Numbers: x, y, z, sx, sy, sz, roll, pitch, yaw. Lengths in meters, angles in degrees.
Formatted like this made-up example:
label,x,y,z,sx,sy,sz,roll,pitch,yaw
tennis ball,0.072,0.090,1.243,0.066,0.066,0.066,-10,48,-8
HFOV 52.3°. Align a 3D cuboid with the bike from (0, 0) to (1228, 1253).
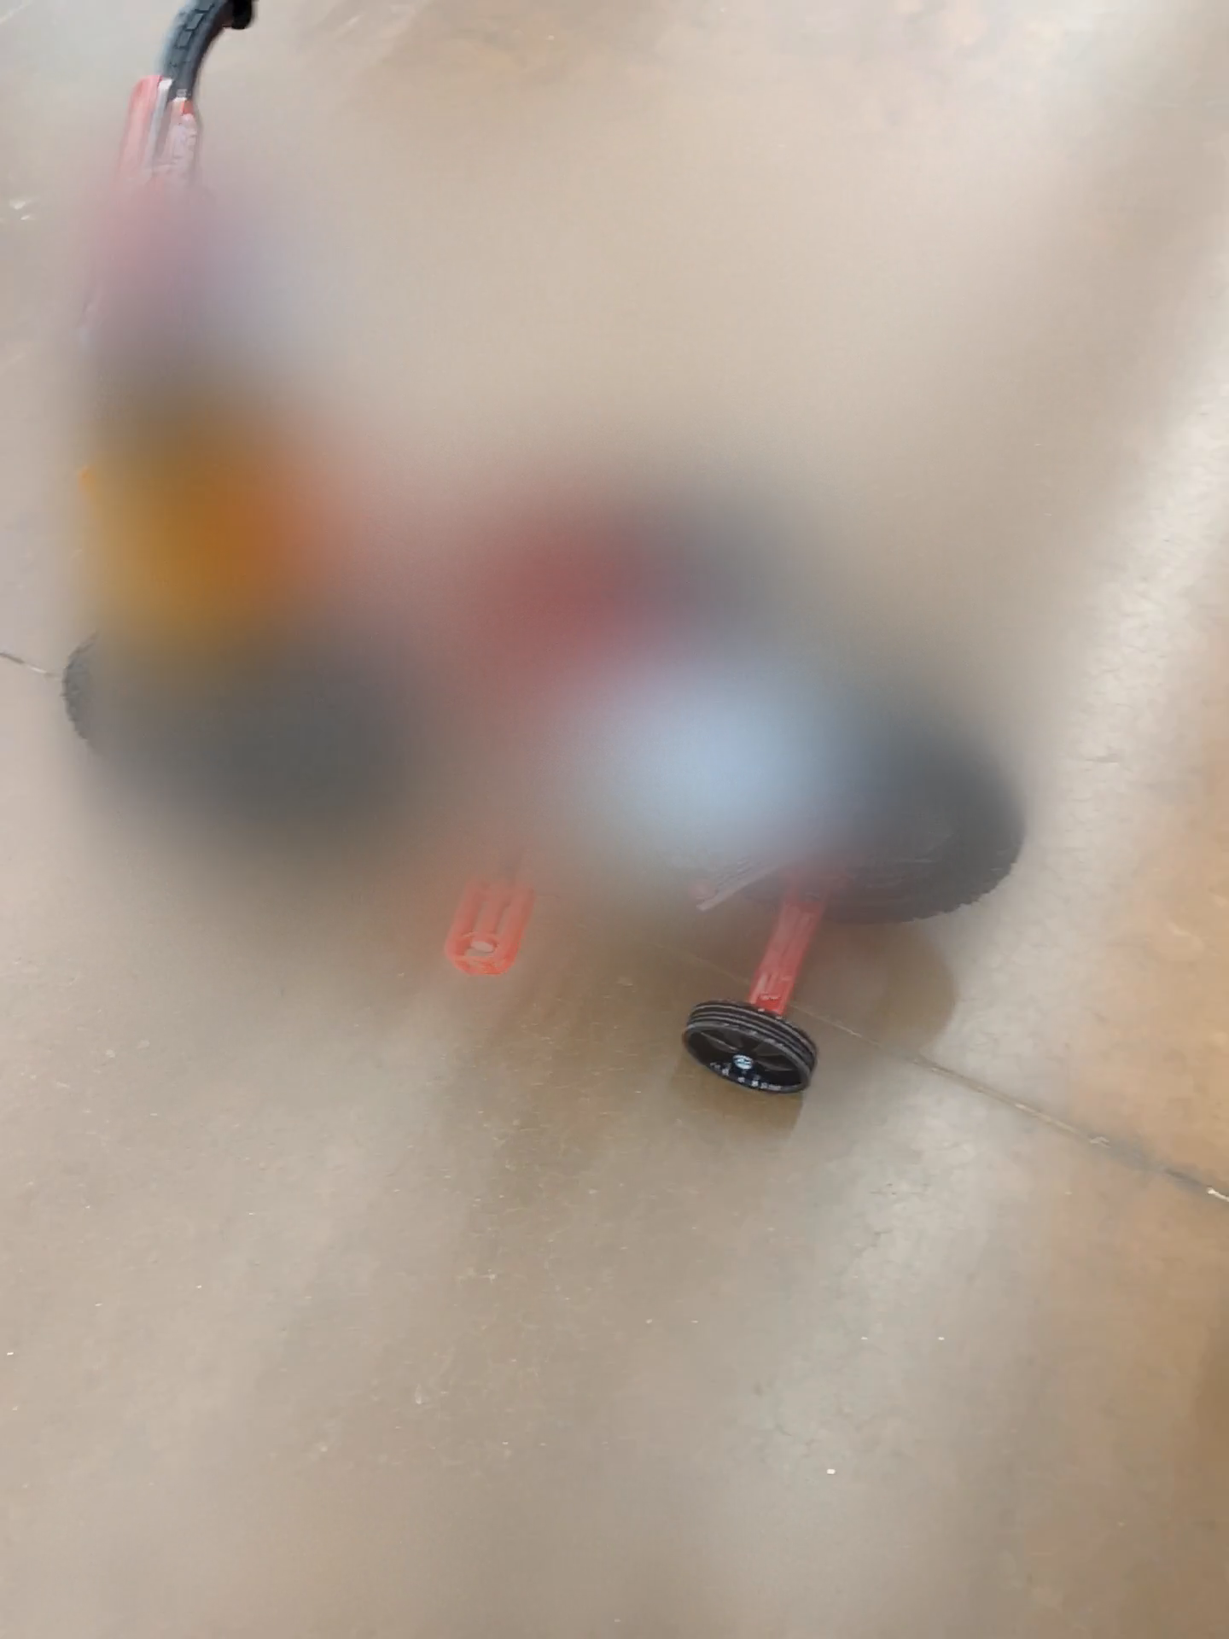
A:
label,x,y,z,sx,sy,sz,roll,pitch,yaw
bike,-0.082,-0.118,0.738,0.704,0.627,0.458,9,57,5
